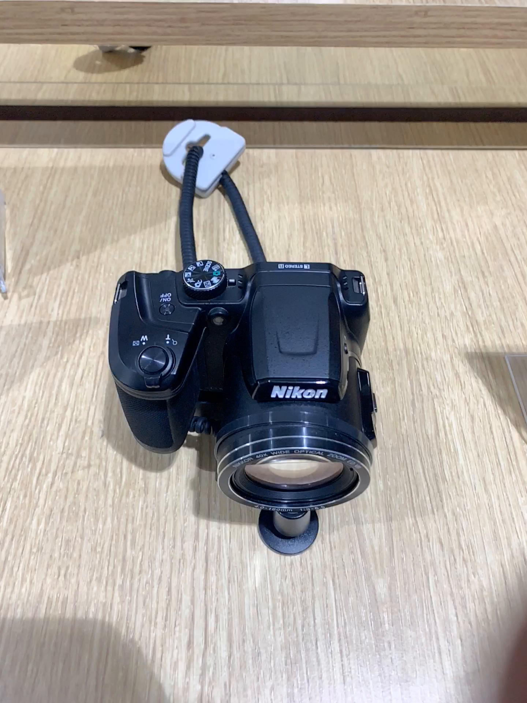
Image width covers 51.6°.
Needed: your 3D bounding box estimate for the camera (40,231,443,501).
[{"bbox_3d":[-0.007,0.007,0.214,0.120,0.070,0.080,0,54,-1],"label":"camera"}]
